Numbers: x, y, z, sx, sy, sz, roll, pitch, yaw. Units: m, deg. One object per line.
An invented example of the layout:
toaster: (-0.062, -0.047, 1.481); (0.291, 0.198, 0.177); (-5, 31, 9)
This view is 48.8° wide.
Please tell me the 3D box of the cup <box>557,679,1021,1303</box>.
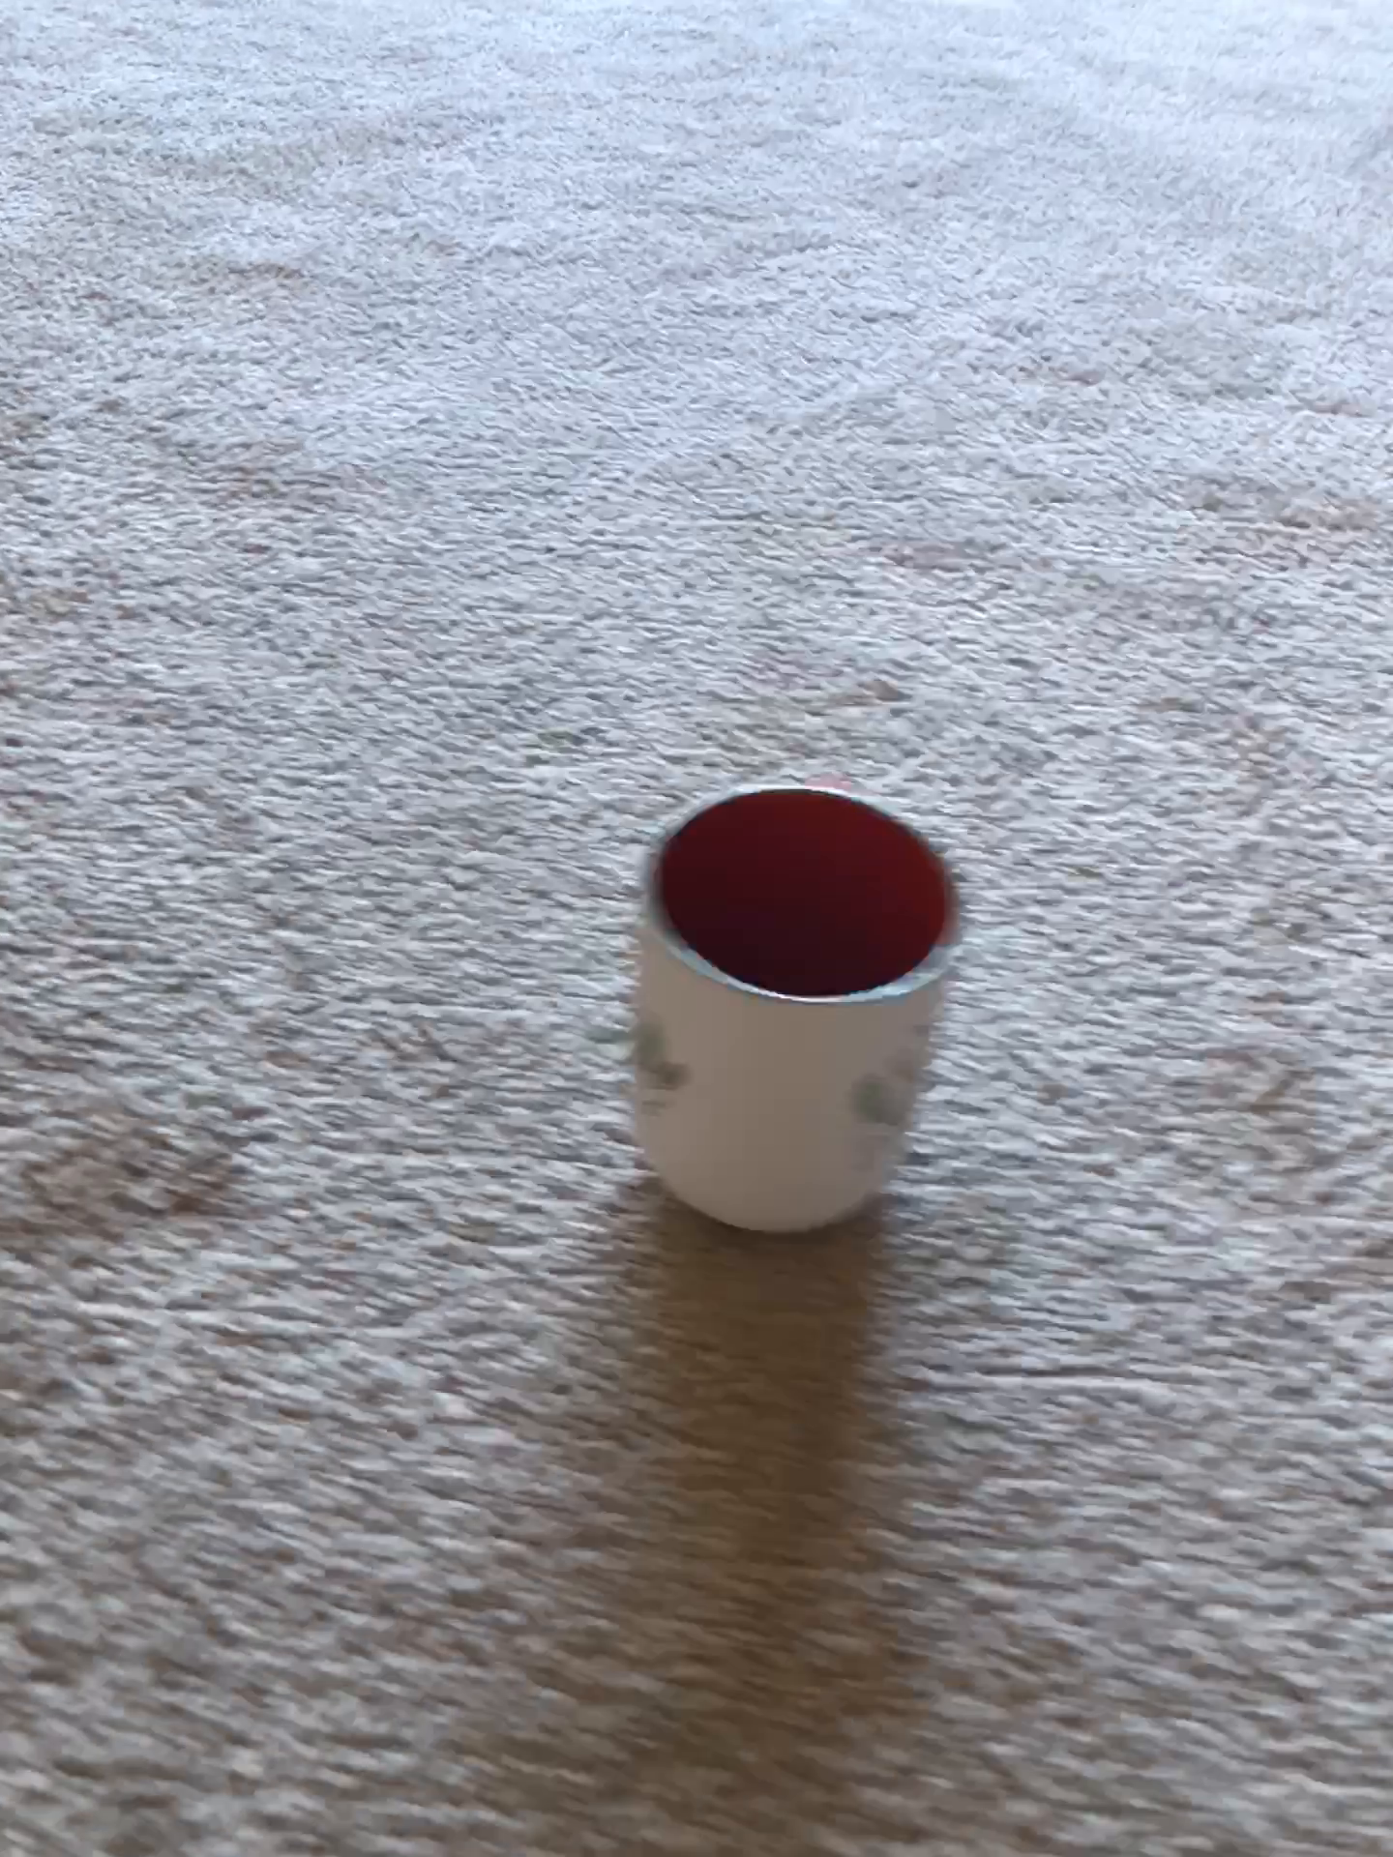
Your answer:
cup: (0.029, 0.013, 0.444); (0.100, 0.090, 0.141); (12, 45, 8)
